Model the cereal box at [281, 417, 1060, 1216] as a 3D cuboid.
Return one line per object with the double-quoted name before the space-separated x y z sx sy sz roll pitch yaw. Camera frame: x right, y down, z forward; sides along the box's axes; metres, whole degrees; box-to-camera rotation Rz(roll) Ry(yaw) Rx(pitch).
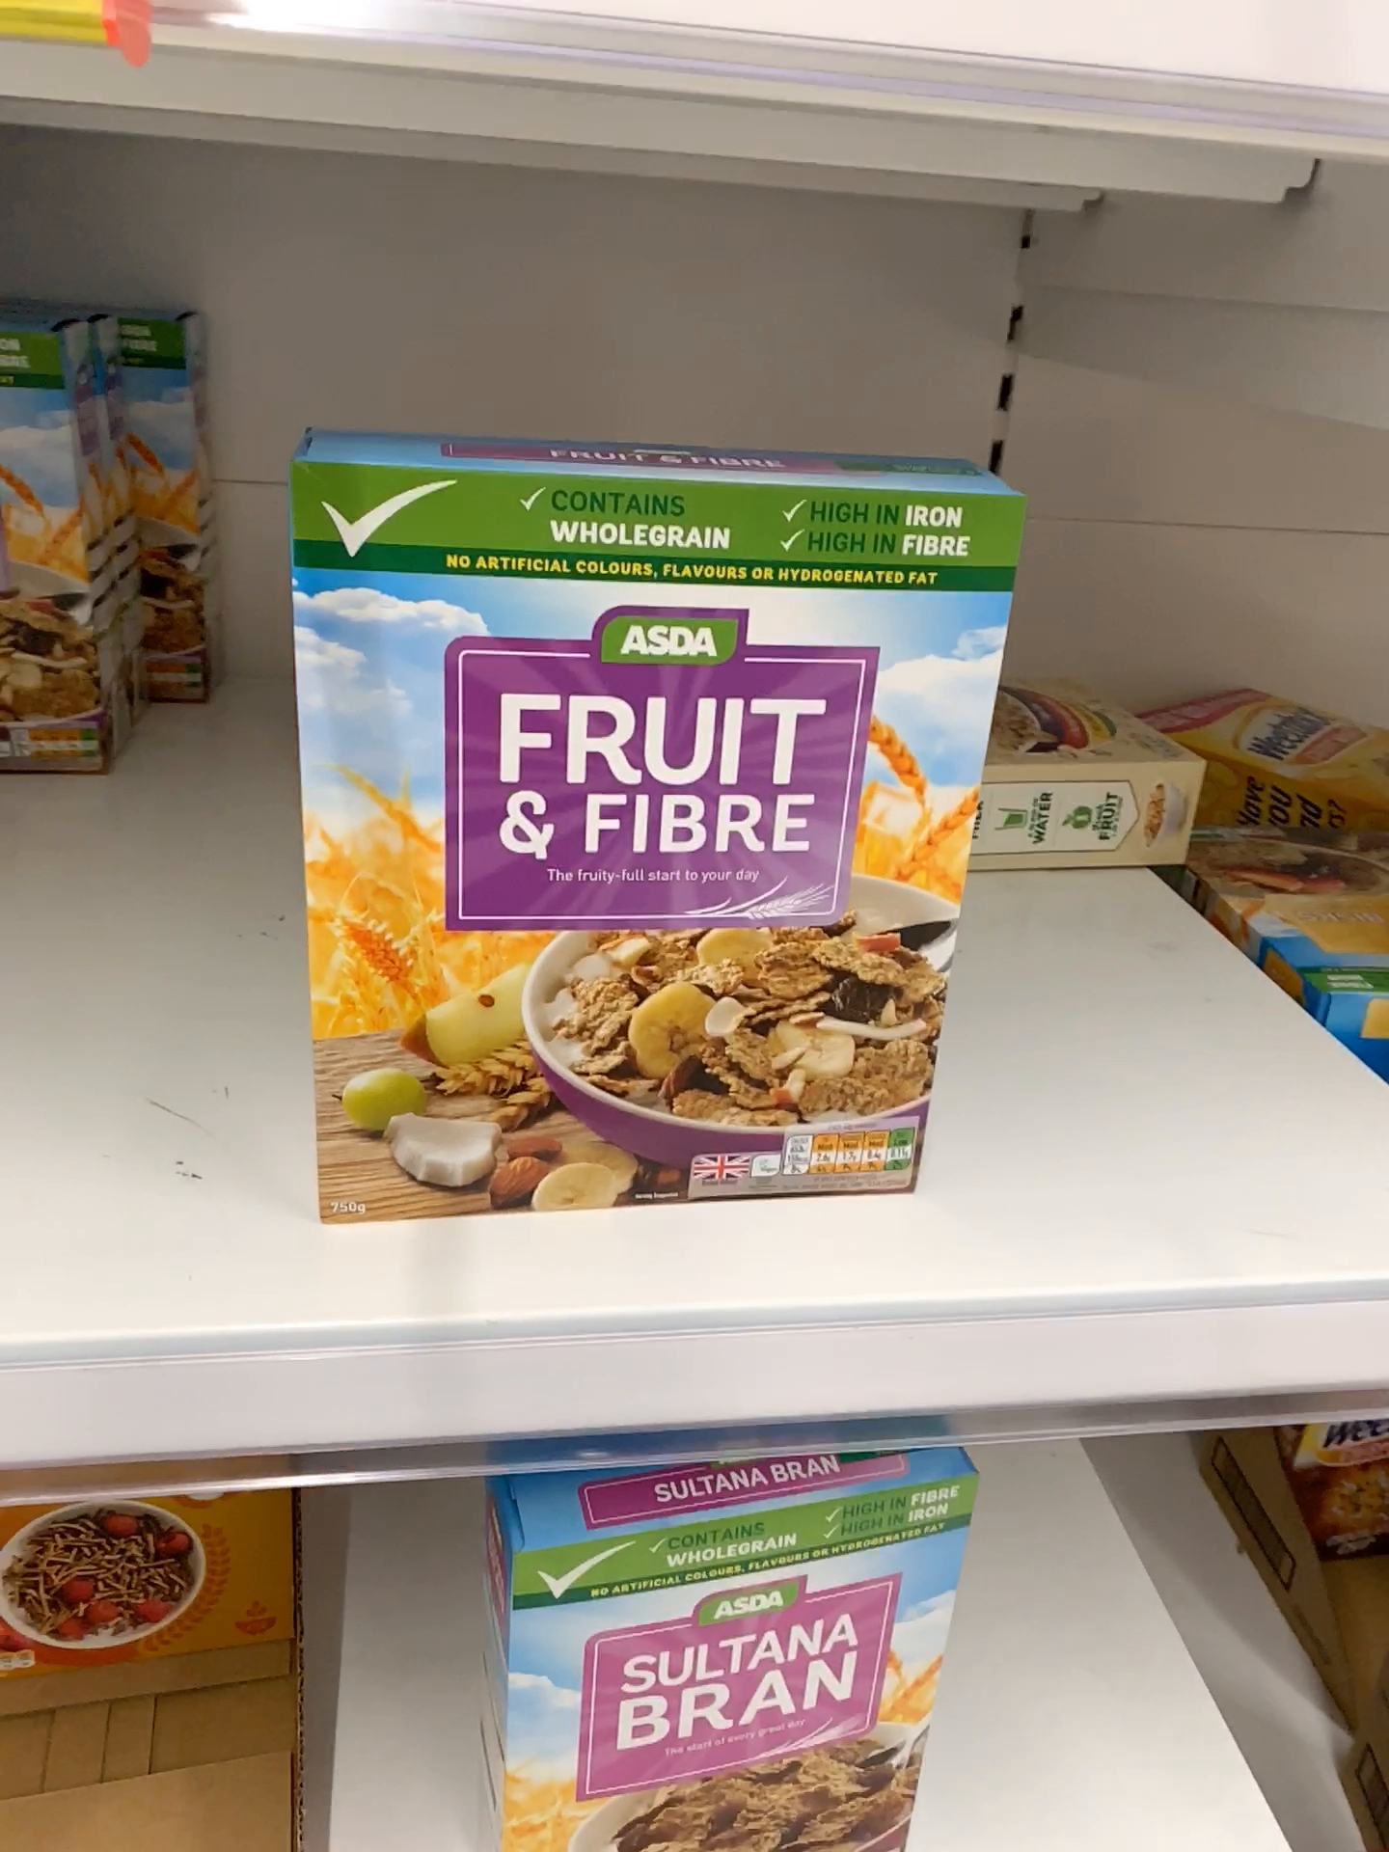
"cereal box" -0.017 -0.034 0.505 0.230 0.258 0.081 -1 25 -10
